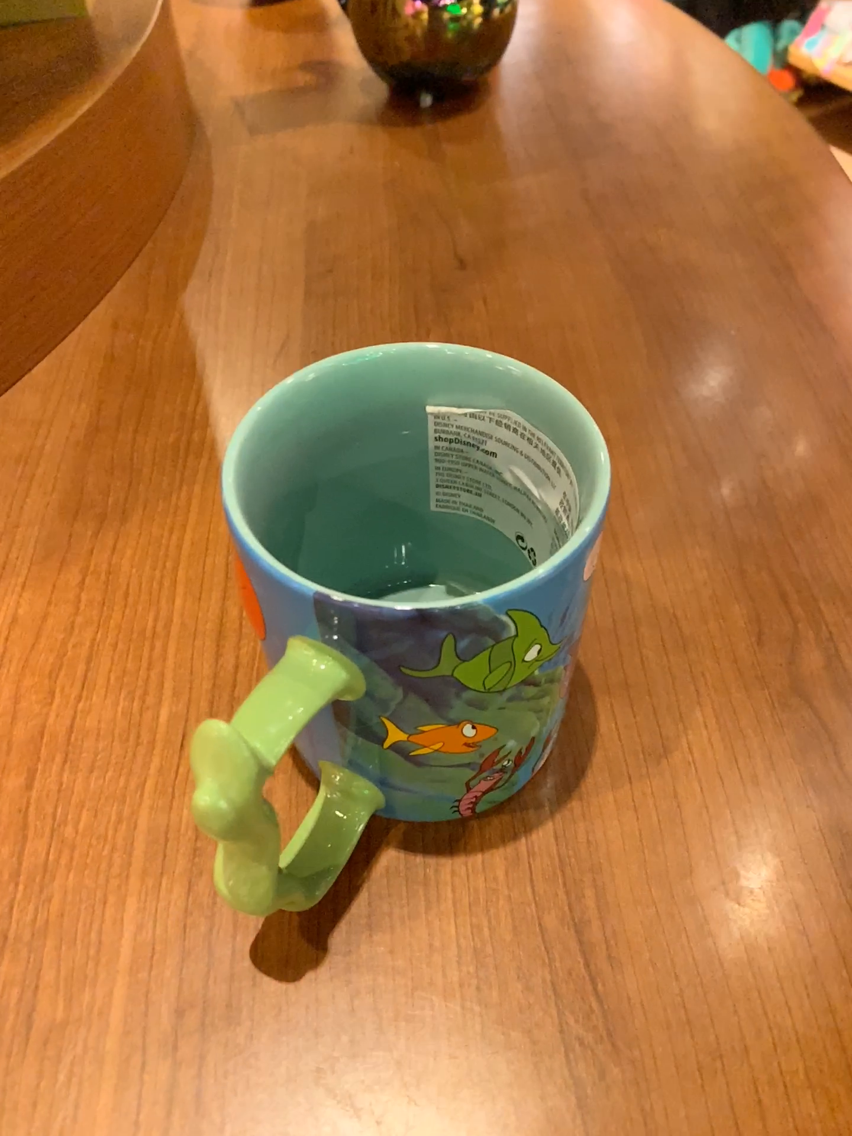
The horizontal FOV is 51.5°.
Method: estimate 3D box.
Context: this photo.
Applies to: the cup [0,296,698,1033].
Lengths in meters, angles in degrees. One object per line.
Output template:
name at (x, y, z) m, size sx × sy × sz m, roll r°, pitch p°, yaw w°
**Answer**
cup at (-0.012, 0.019, 0.231) m, size 0.091 × 0.101 × 0.135 m, roll 30°, pitch 56°, yaw 24°
